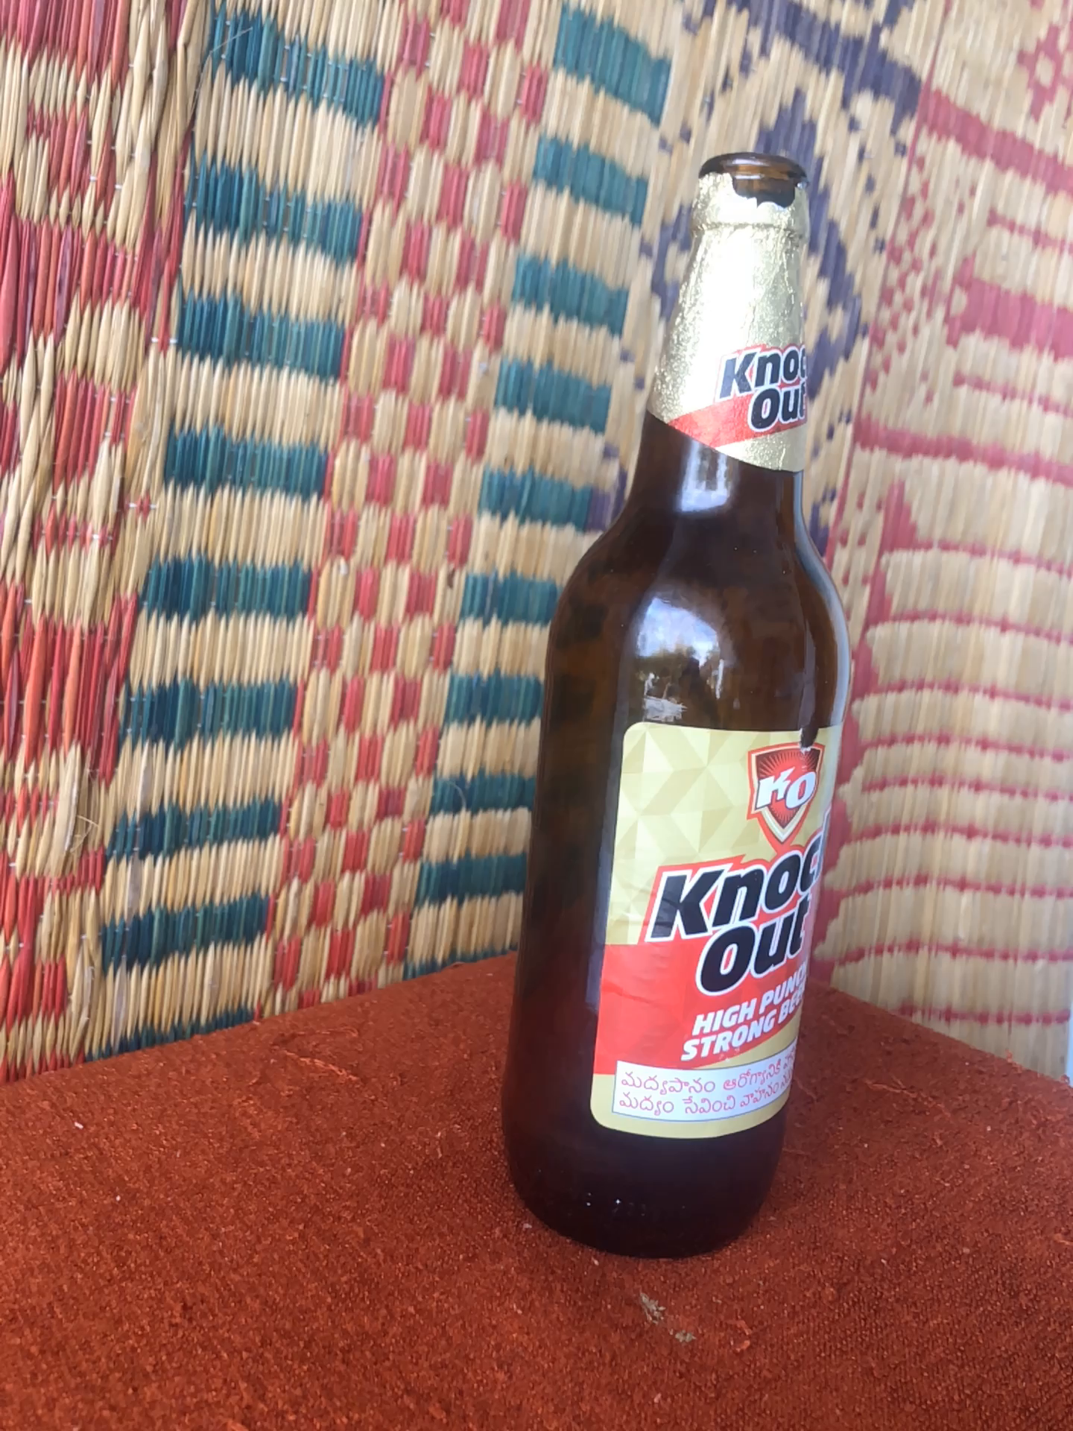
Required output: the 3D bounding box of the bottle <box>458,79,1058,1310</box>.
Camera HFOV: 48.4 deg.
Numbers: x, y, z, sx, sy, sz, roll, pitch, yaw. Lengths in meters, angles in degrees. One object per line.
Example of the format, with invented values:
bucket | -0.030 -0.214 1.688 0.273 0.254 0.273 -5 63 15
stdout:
bottle | 0.047 -0.002 0.285 0.070 0.249 0.070 8 11 -2
